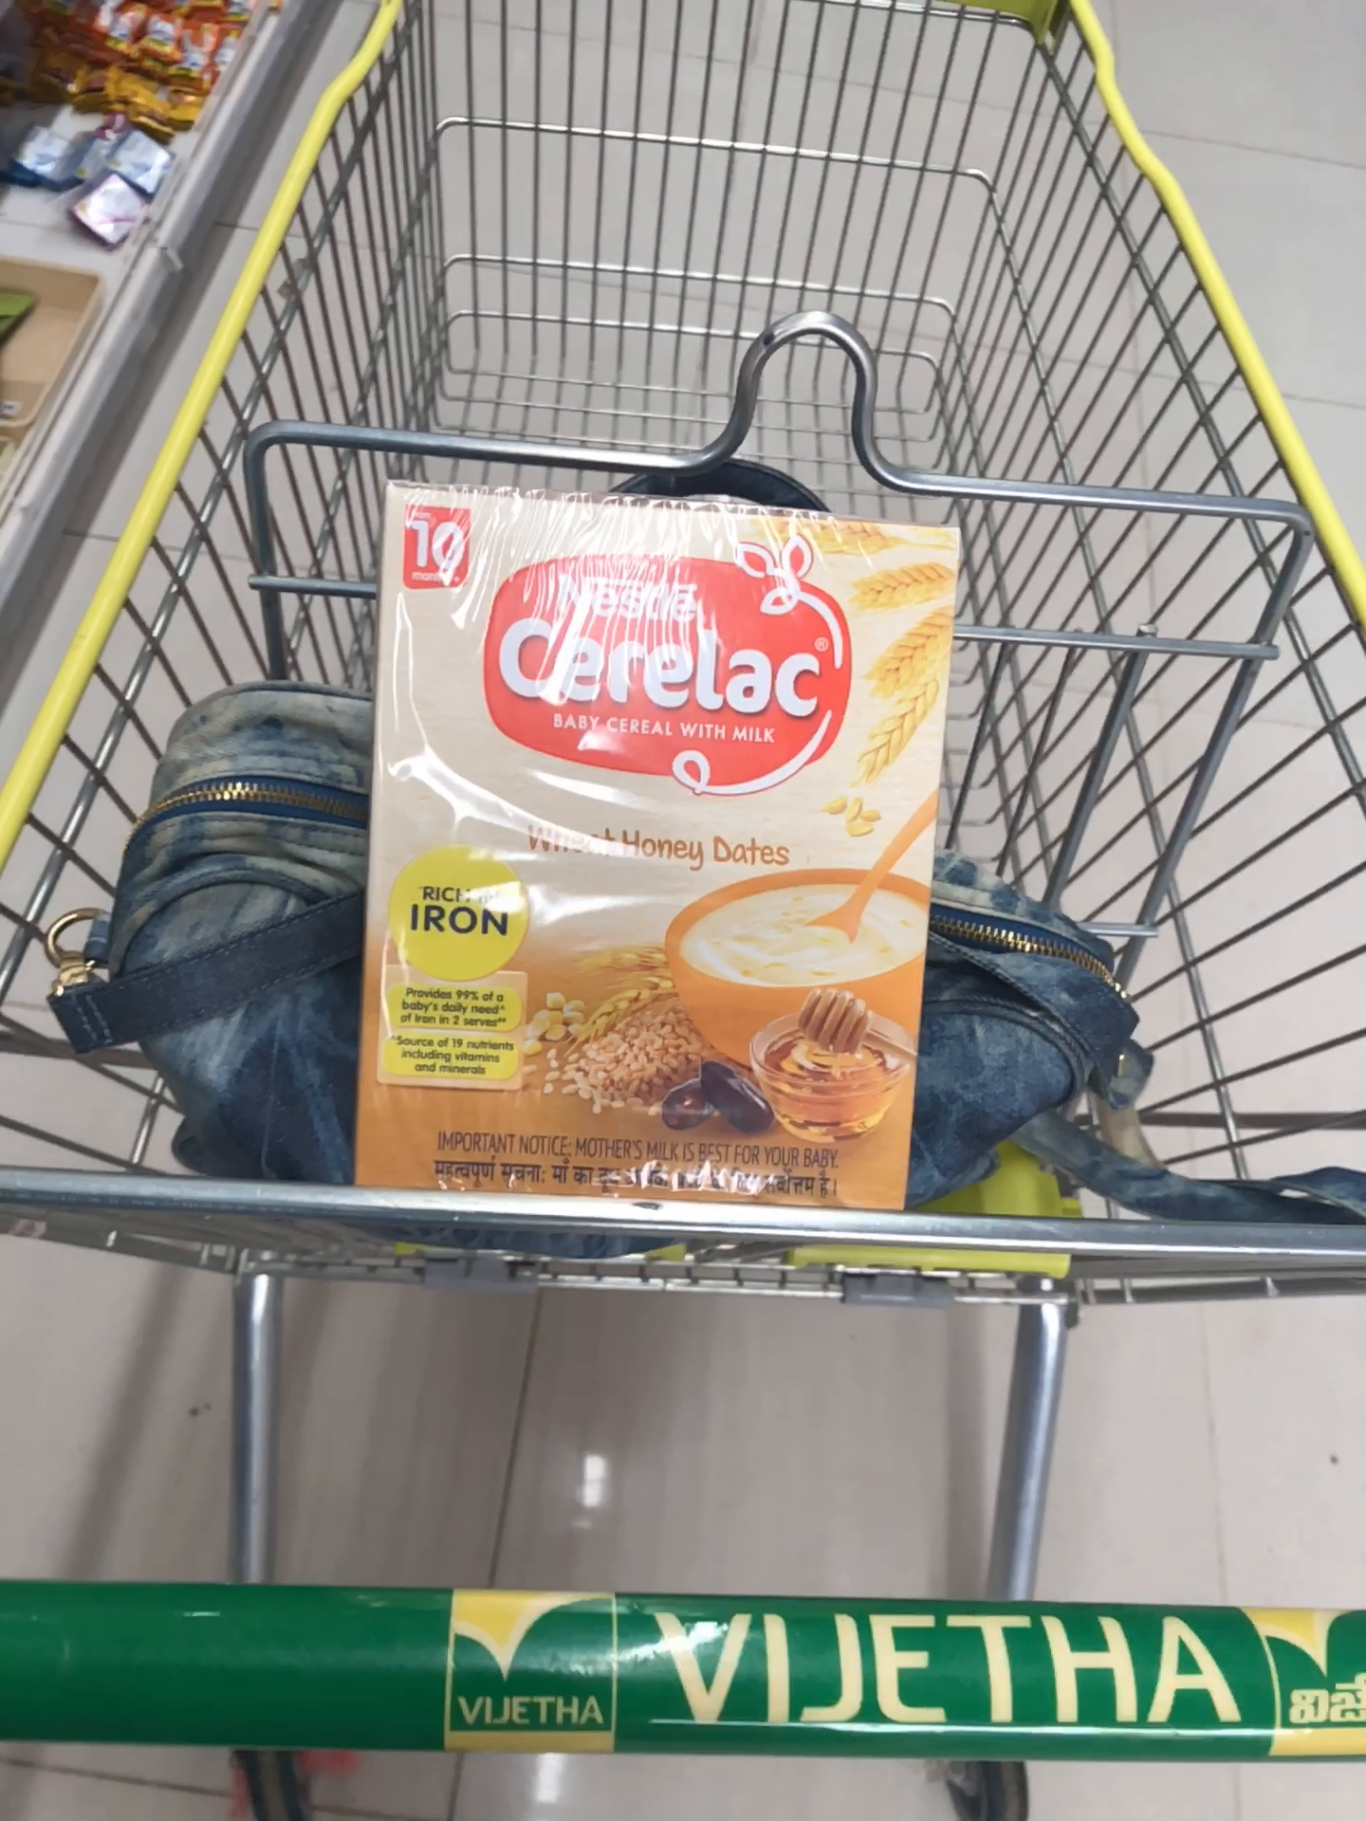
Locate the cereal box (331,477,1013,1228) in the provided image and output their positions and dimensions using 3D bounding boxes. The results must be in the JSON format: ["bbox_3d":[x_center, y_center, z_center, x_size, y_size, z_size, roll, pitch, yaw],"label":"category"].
[{"bbox_3d":[-0.005,-0.015,0.431,0.170,0.060,0.190,3,95,-4],"label":"cereal box"}]
